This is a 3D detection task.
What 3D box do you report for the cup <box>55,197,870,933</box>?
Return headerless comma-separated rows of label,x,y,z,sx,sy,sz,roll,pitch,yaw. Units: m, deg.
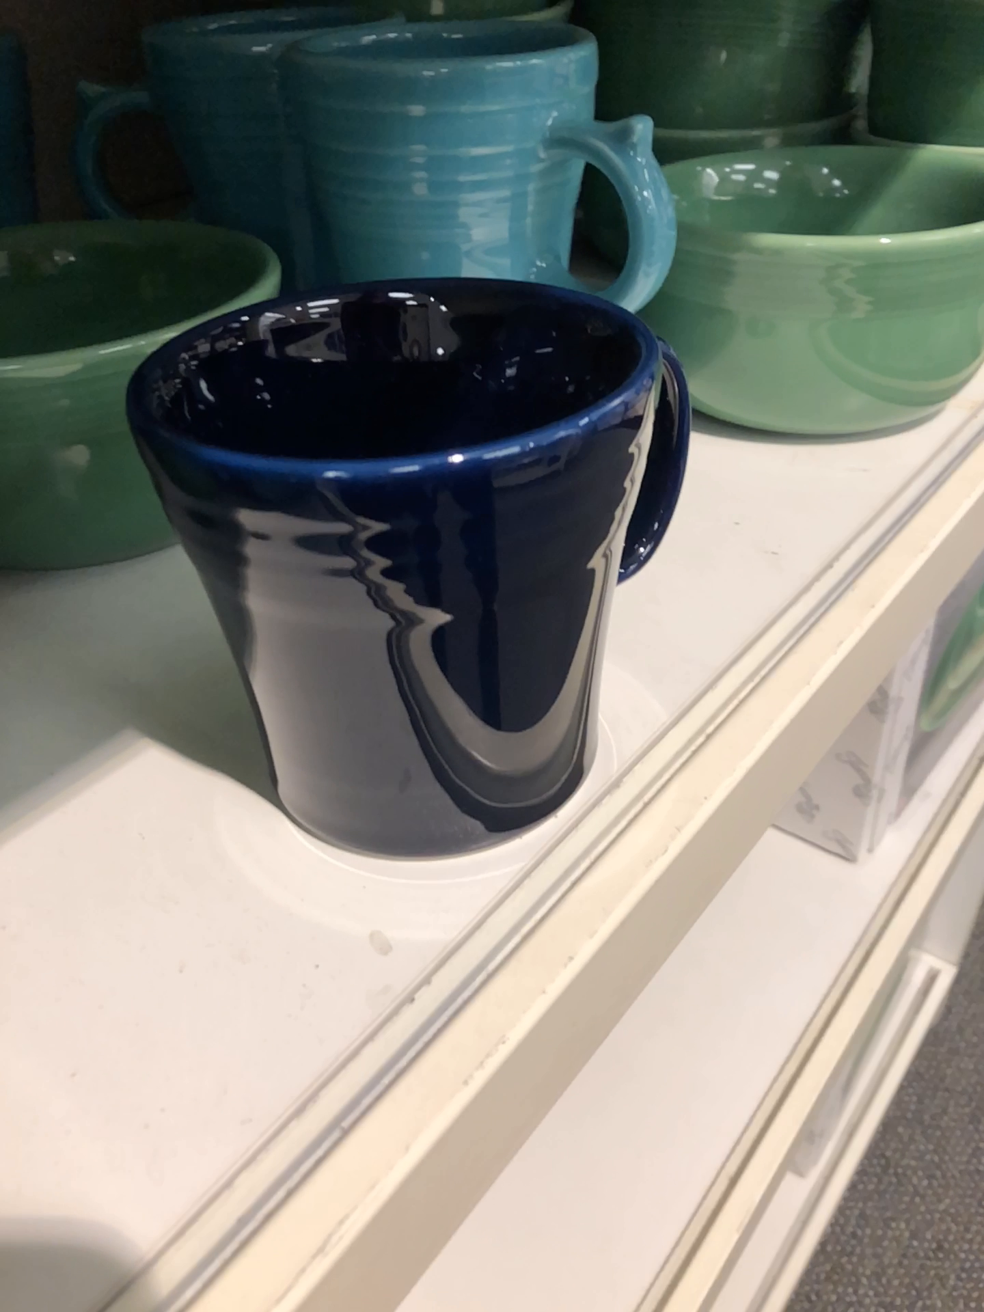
cup,0.003,-0.034,0.246,0.093,0.085,0.144,25,45,31
